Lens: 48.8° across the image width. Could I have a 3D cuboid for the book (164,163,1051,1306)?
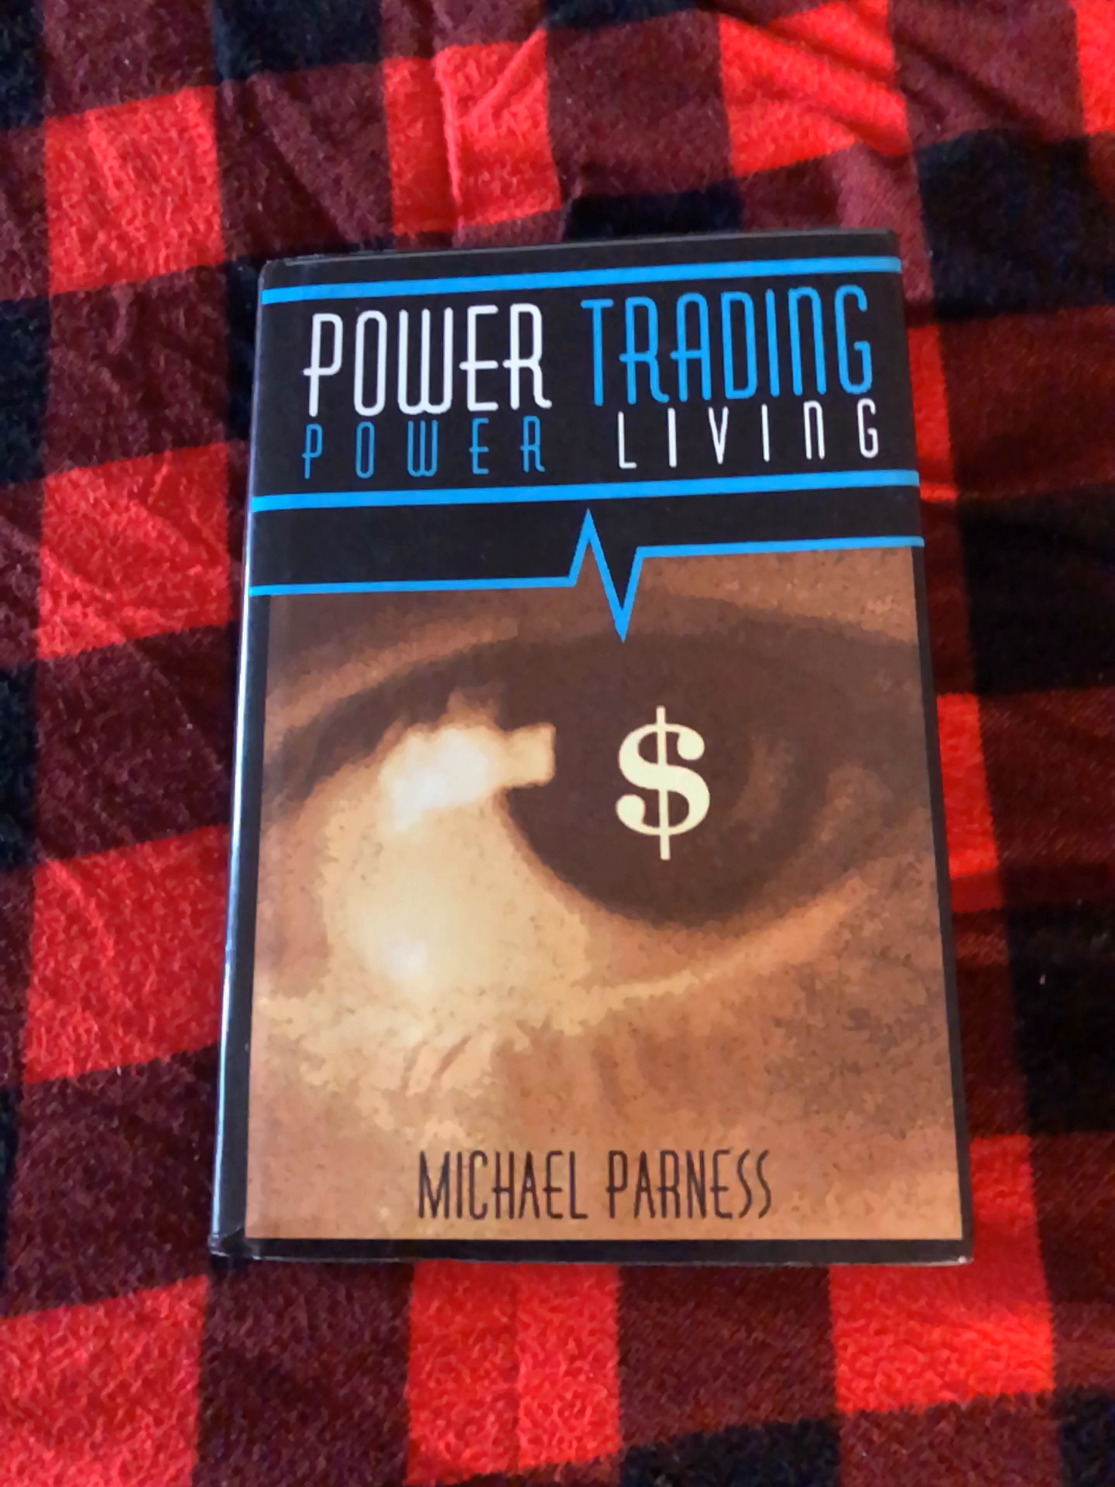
[{"bbox_3d":[0.008,-0.007,0.278,0.170,0.040,0.240,-1,79,3],"label":"book"}]
